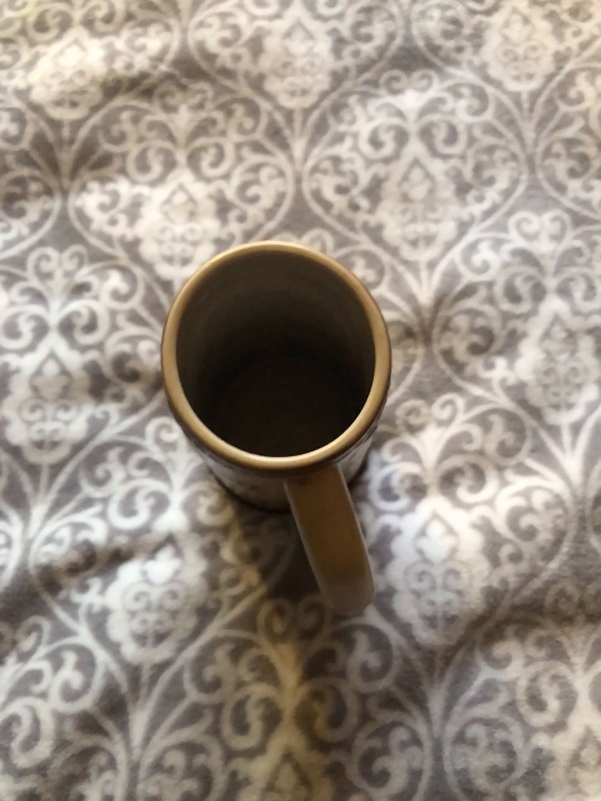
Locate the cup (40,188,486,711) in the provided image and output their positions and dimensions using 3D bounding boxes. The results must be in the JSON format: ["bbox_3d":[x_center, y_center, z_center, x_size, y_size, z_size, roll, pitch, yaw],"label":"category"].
[{"bbox_3d":[-0.016,0.026,0.314,0.098,0.189,0.144,-22,82,-4],"label":"cup"}]
